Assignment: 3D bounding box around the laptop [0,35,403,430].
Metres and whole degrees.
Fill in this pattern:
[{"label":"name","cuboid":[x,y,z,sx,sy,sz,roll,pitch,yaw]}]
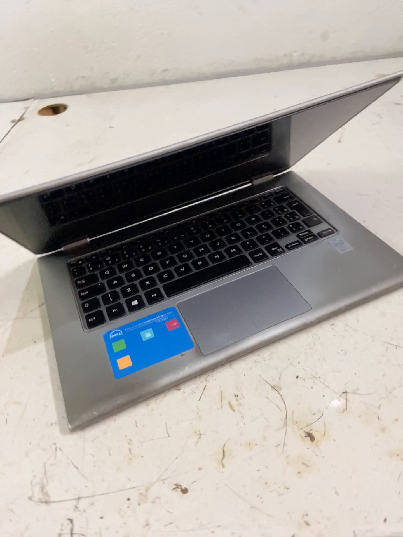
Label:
[{"label":"laptop","cuboid":[0.001,-0.061,0.365,0.327,0.155,0.219,-21,44,-13]}]
